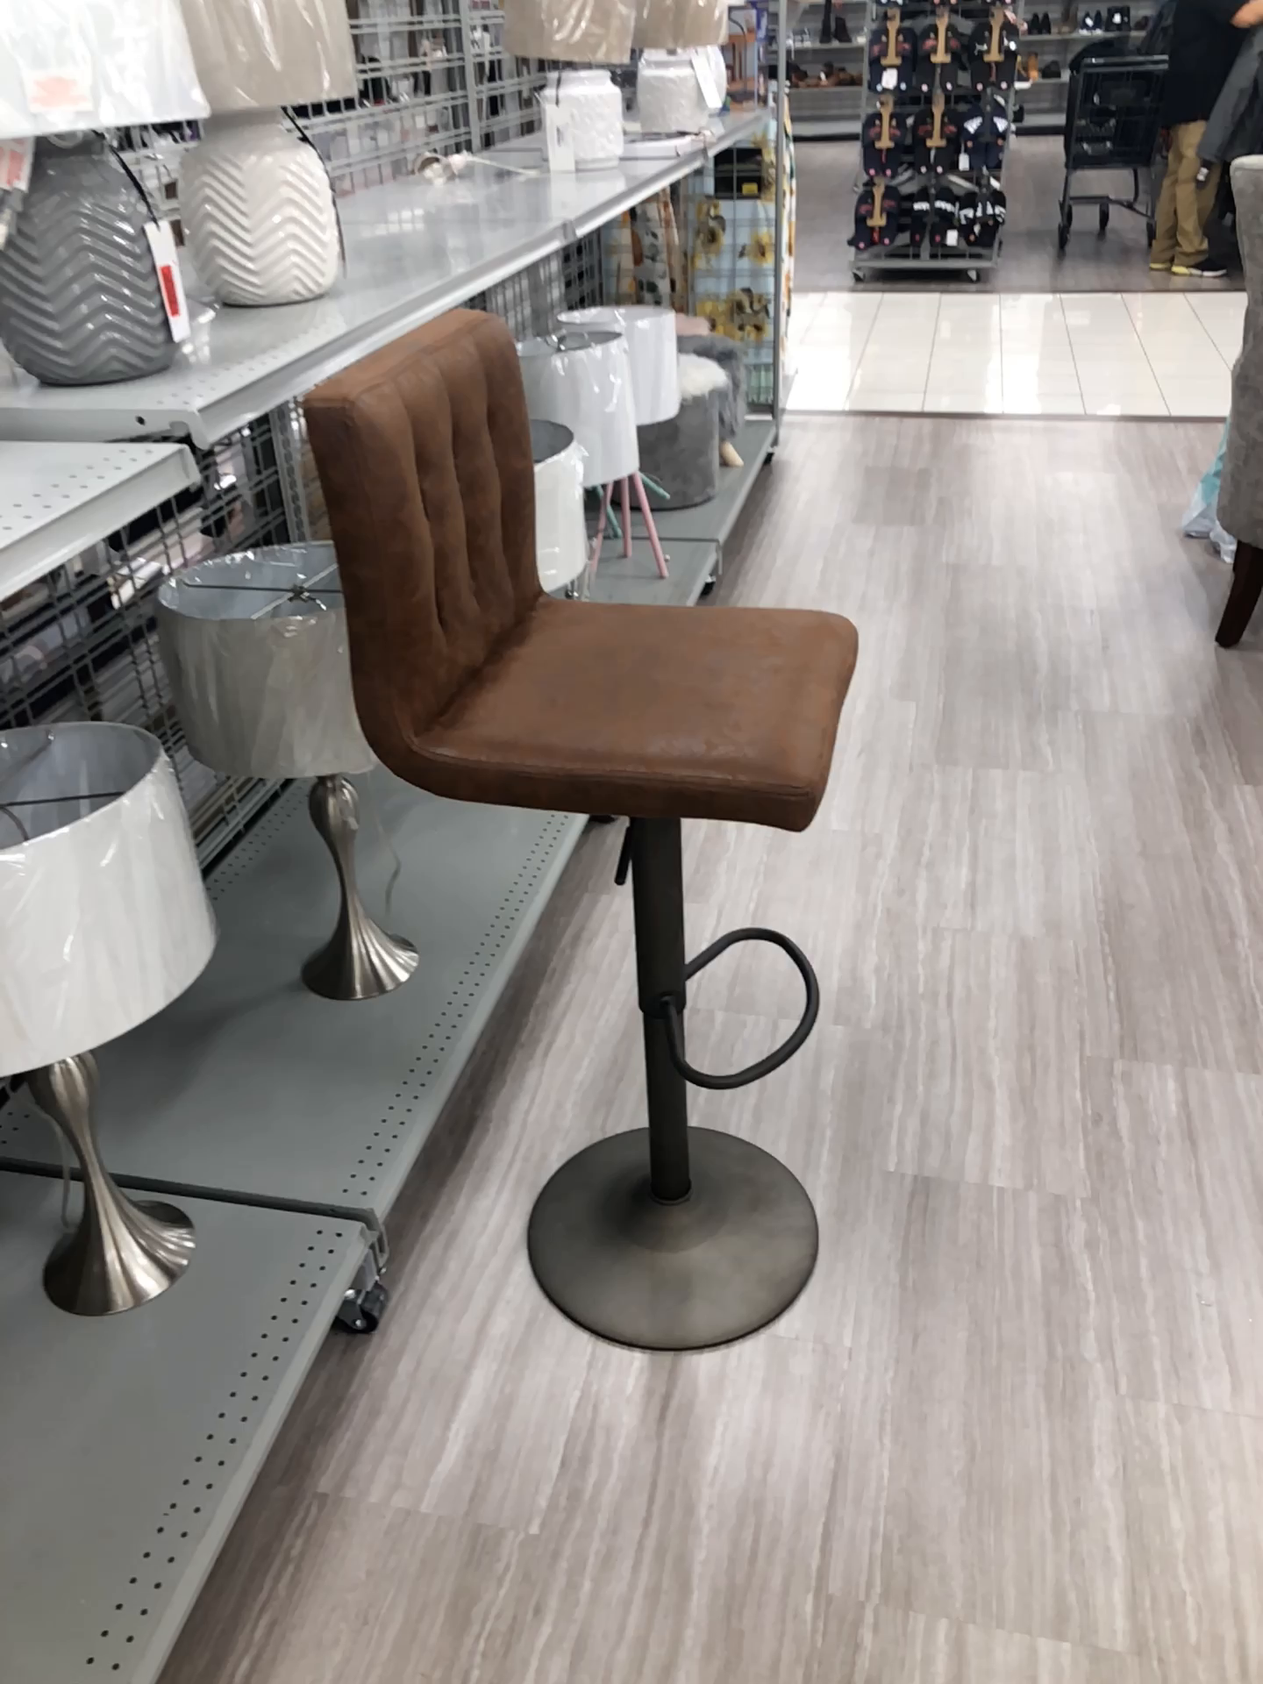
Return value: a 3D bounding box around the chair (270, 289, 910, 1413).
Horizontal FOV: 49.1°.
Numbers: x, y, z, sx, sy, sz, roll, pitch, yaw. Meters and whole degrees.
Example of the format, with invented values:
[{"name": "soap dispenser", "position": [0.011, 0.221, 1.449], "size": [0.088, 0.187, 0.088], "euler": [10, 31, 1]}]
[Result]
[{"name": "chair", "position": [0.021, 0.026, 1.511], "size": [0.468, 1.102, 0.476], "euler": [4, 32, 12]}]
